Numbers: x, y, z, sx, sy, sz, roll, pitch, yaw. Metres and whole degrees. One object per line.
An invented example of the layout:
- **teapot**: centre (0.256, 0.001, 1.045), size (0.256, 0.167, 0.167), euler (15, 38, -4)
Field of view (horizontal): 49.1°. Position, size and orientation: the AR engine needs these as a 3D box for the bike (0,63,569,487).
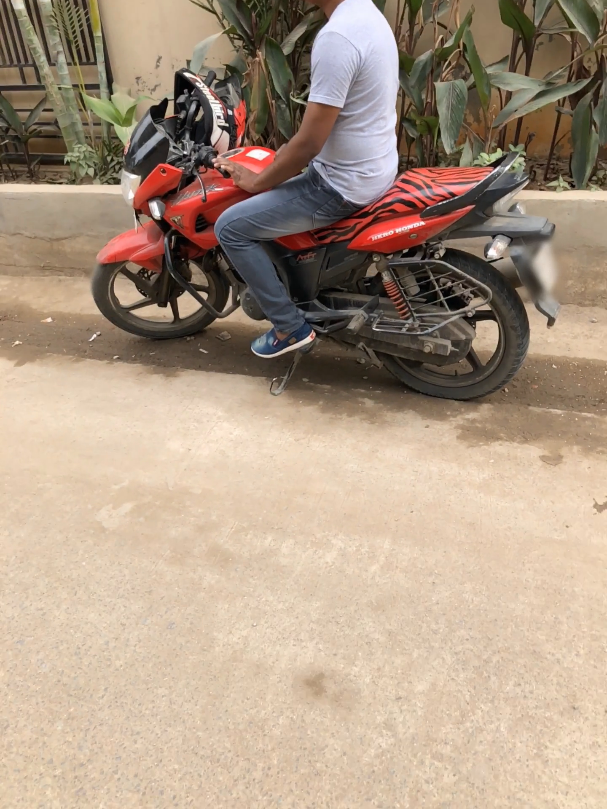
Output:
- **bike**: centre (-0.096, -0.549, 2.485), size (1.787, 1.208, 0.694), euler (10, 35, 20)
